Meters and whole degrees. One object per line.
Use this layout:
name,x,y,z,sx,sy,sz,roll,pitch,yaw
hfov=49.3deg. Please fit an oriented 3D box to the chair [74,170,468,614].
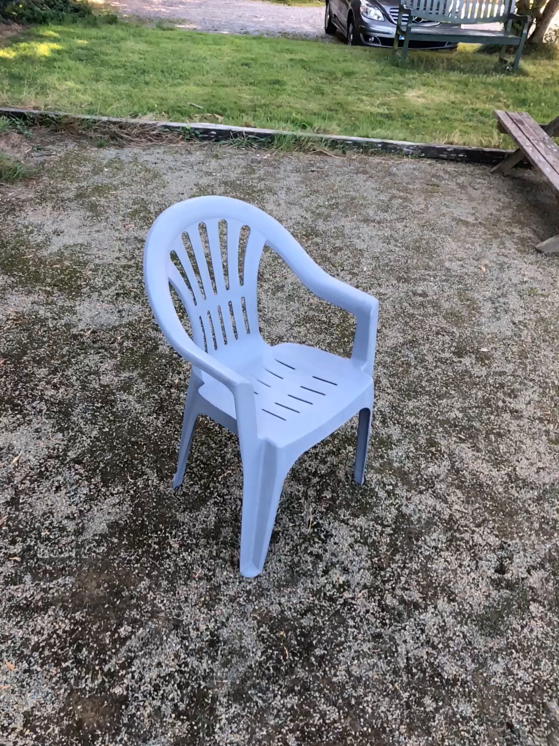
chair,-0.041,0.001,1.593,0.621,0.775,0.633,33,44,32
